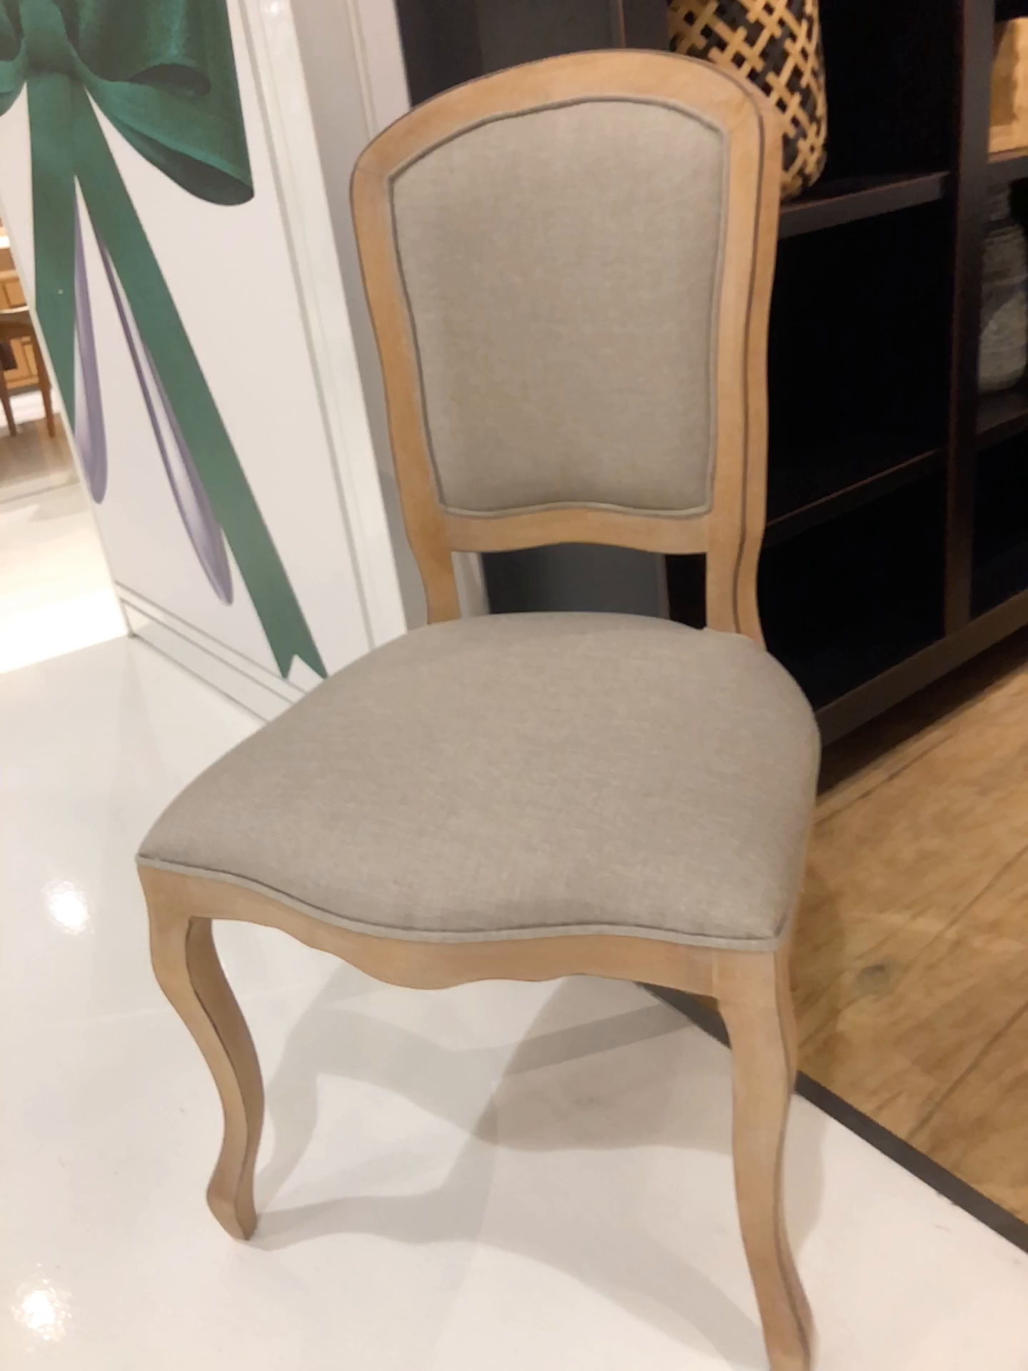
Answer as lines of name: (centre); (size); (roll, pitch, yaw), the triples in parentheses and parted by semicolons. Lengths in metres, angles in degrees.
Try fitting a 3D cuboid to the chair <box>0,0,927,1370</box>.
chair: (-0.007, -0.041, 0.929); (0.600, 0.874, 0.554); (3, 28, 22)
